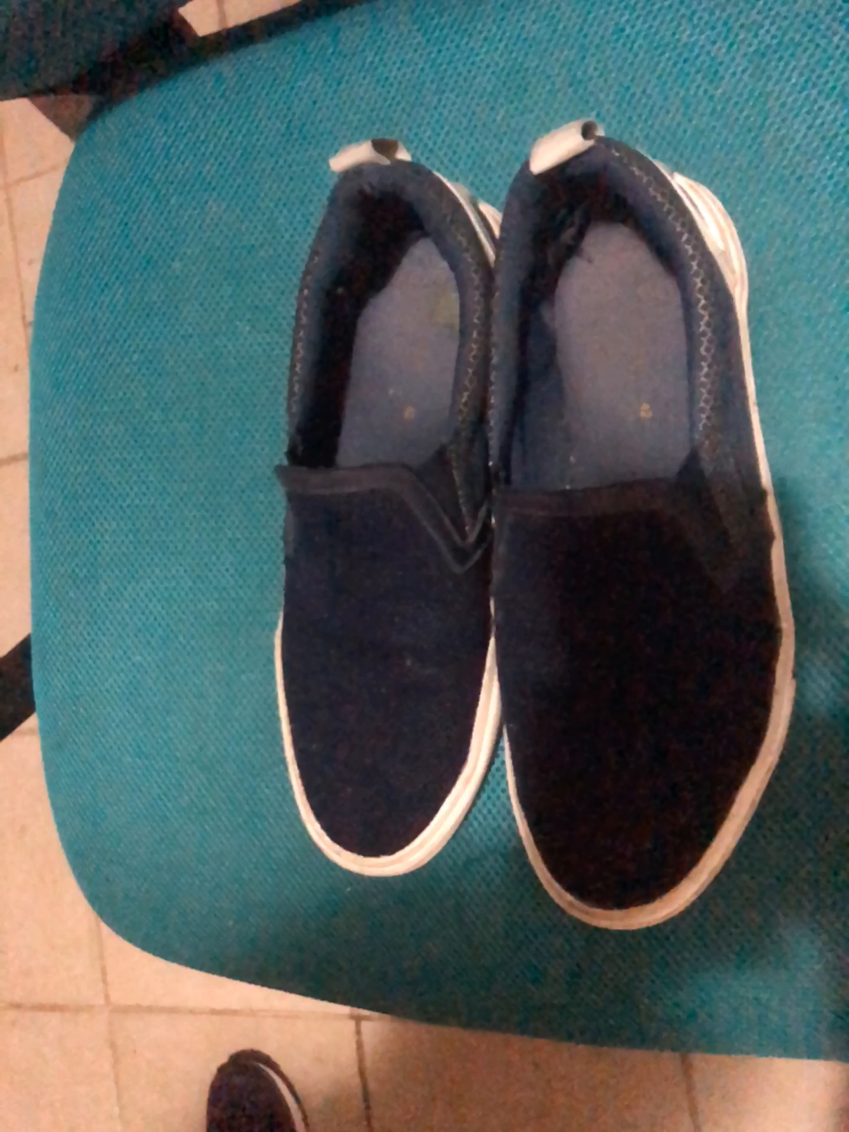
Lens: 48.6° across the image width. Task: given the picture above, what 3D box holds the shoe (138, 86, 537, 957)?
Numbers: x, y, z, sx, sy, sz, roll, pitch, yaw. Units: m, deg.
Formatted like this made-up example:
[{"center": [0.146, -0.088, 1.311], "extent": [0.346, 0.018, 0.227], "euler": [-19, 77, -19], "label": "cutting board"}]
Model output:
[{"center": [-0.030, -0.016, 0.387], "extent": [0.120, 0.110, 0.290], "euler": [2, 90, 22], "label": "shoe"}]

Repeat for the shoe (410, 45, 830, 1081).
[{"center": [0.075, 0.000, 0.337], "extent": [0.120, 0.110, 0.290], "euler": [-2, 89, 22], "label": "shoe"}]
